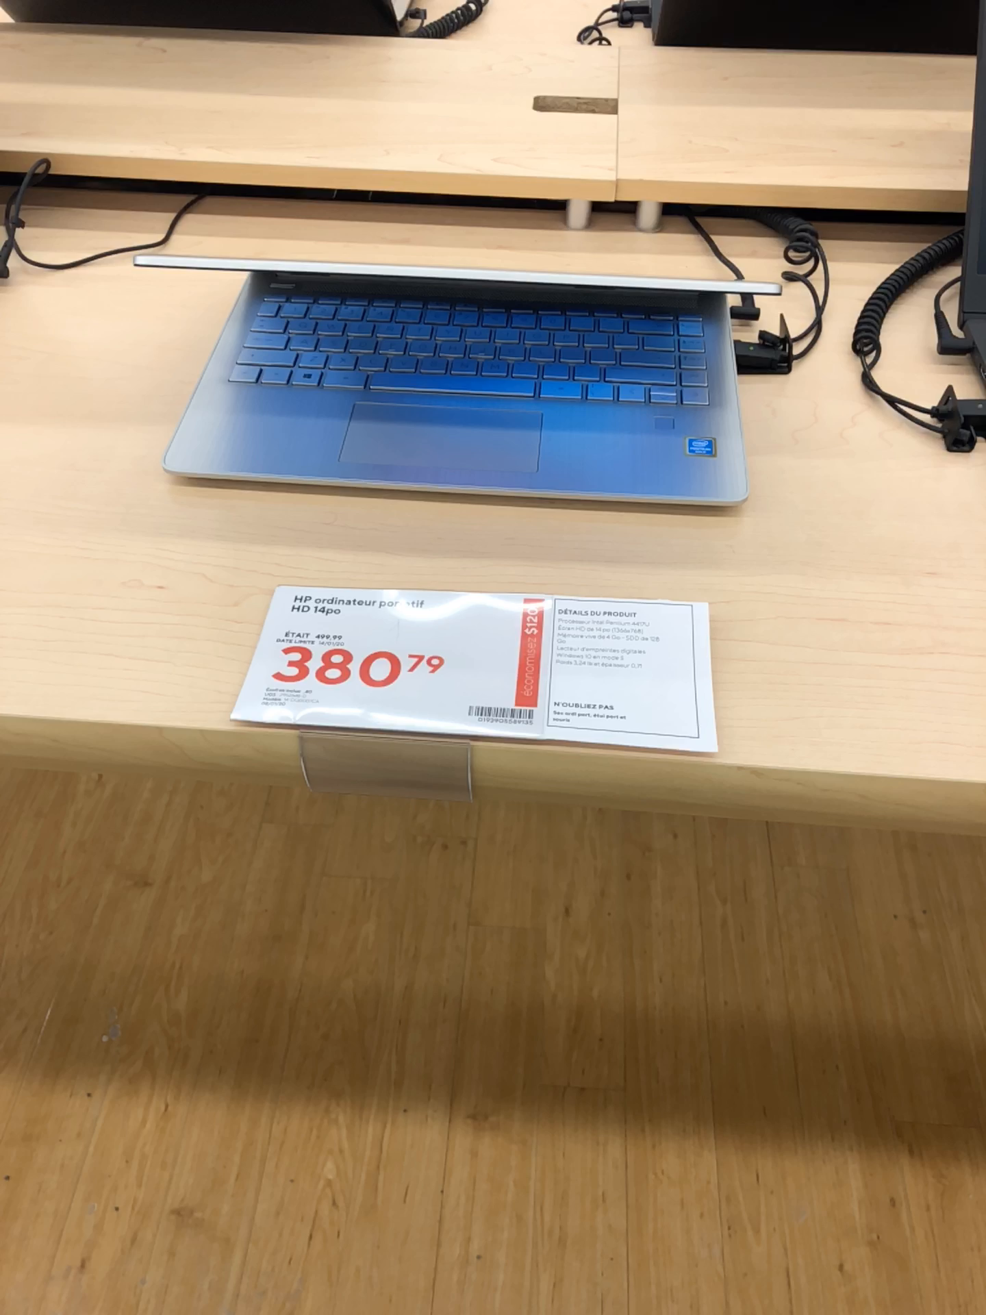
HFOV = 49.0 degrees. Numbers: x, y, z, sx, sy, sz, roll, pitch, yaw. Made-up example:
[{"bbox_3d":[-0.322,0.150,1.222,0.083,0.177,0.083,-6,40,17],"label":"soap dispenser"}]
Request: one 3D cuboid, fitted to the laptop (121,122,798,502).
[{"bbox_3d":[-0.019,-0.206,0.609,0.318,0.104,0.217,4,46,9],"label":"laptop"}]
